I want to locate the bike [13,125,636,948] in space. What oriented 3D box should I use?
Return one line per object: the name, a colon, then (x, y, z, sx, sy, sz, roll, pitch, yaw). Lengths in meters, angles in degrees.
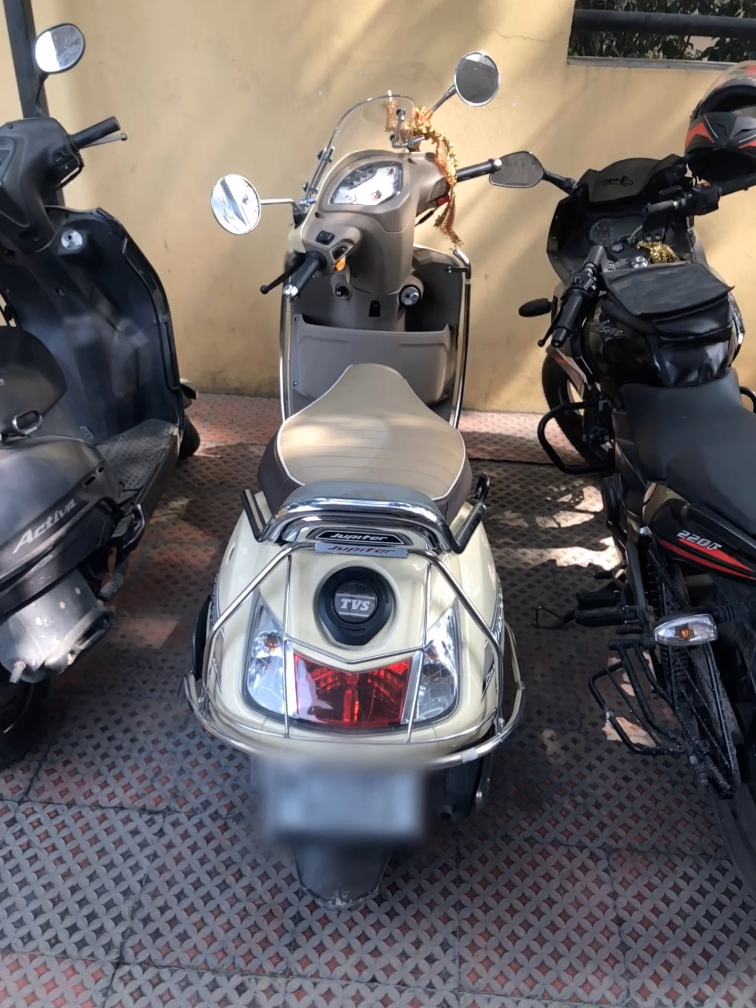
bike: (-0.140, -0.125, 1.816, 0.644, 0.999, 1.635, -1, 34, -4)
